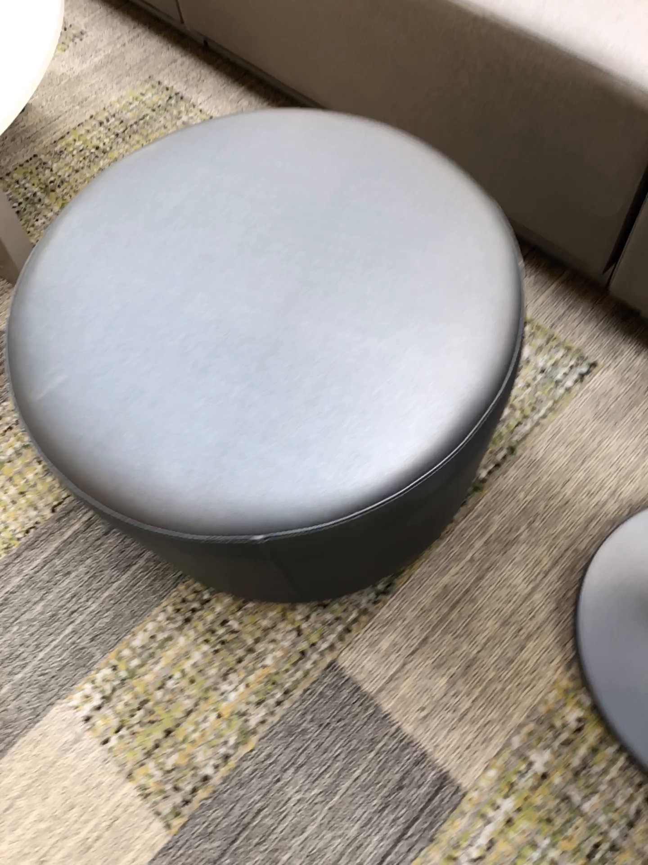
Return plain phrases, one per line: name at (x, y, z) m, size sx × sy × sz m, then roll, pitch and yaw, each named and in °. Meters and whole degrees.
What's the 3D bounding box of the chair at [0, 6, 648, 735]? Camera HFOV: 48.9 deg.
chair at (-0.052, -0.079, 0.940) m, size 0.570 × 0.459 × 0.621 m, roll -39°, pitch 66°, yaw -15°
